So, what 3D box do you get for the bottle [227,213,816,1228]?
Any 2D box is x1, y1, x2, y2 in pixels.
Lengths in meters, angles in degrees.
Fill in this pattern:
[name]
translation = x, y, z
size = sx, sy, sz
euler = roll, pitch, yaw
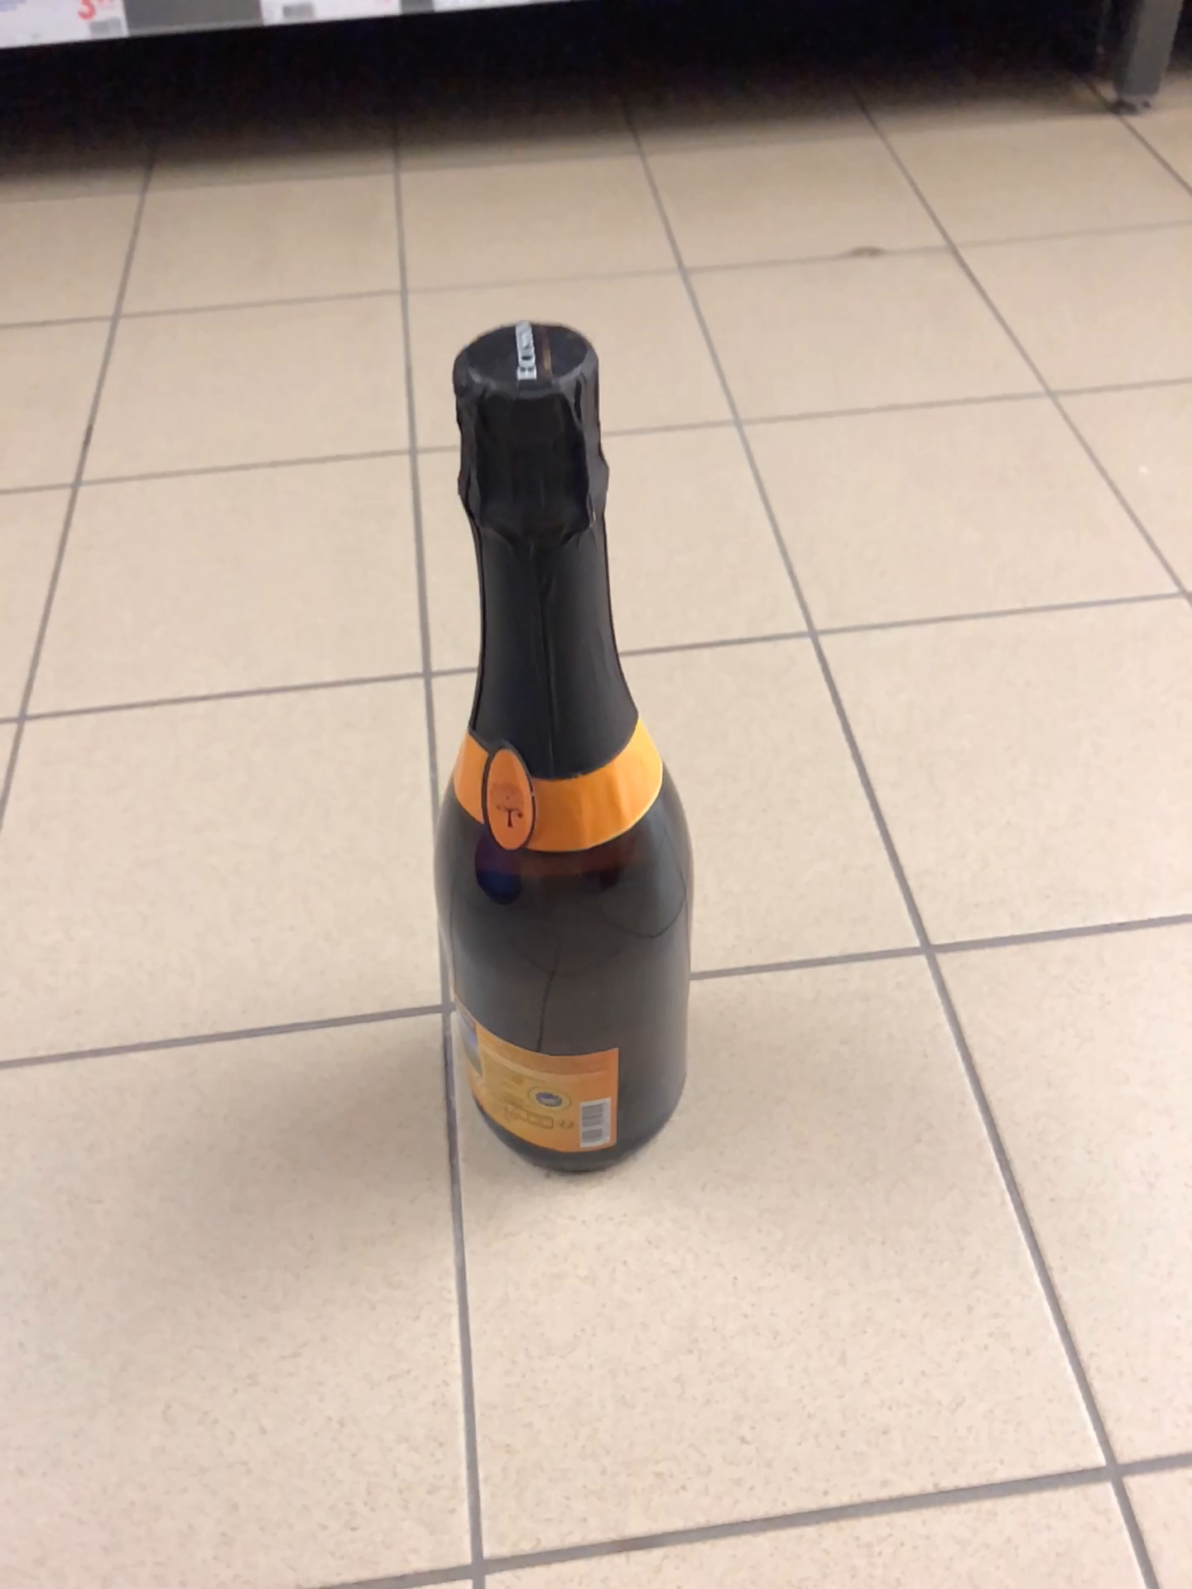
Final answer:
[bottle]
translation = -0.012, 0.003, 0.394
size = 0.090, 0.298, 0.090
euler = -1, 47, 1
